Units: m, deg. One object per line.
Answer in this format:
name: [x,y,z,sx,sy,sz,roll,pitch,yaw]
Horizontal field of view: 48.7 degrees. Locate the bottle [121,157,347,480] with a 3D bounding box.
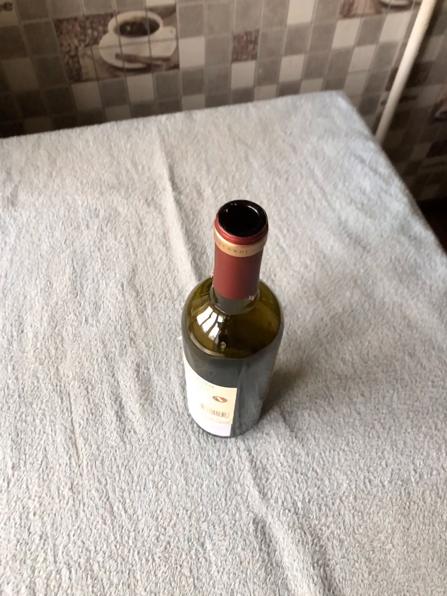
bottle: [0.002,0.047,0.375,0.080,0.299,0.080,1,58,-1]
